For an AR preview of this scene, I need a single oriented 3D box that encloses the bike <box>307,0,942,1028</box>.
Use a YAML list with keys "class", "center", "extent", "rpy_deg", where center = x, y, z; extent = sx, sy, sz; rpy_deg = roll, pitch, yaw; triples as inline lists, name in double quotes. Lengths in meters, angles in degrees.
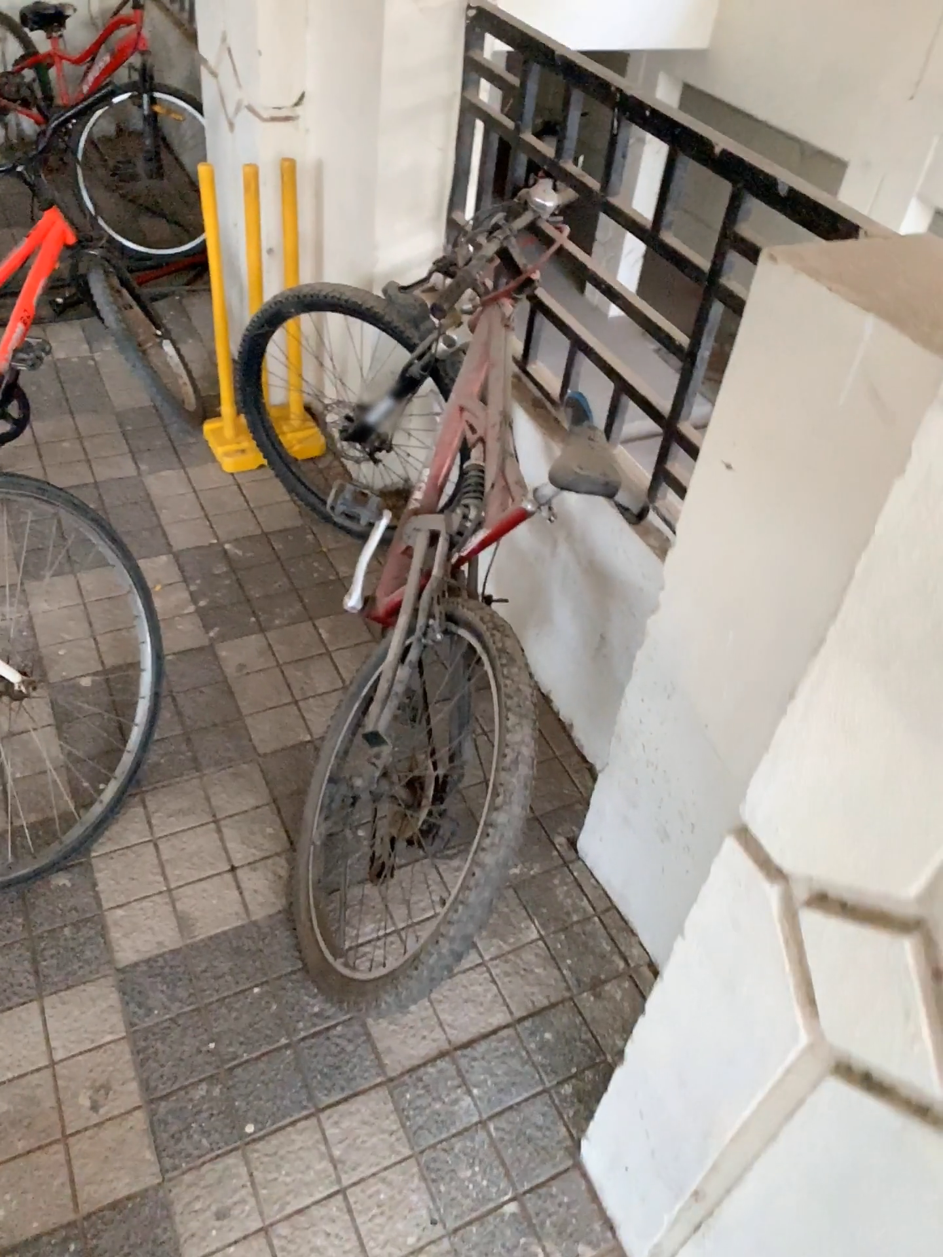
- class: "bike"
  center: [0.123, -0.302, 1.710]
  extent: [0.608, 0.832, 1.470]
  rpy_deg: [-6, 52, -15]
